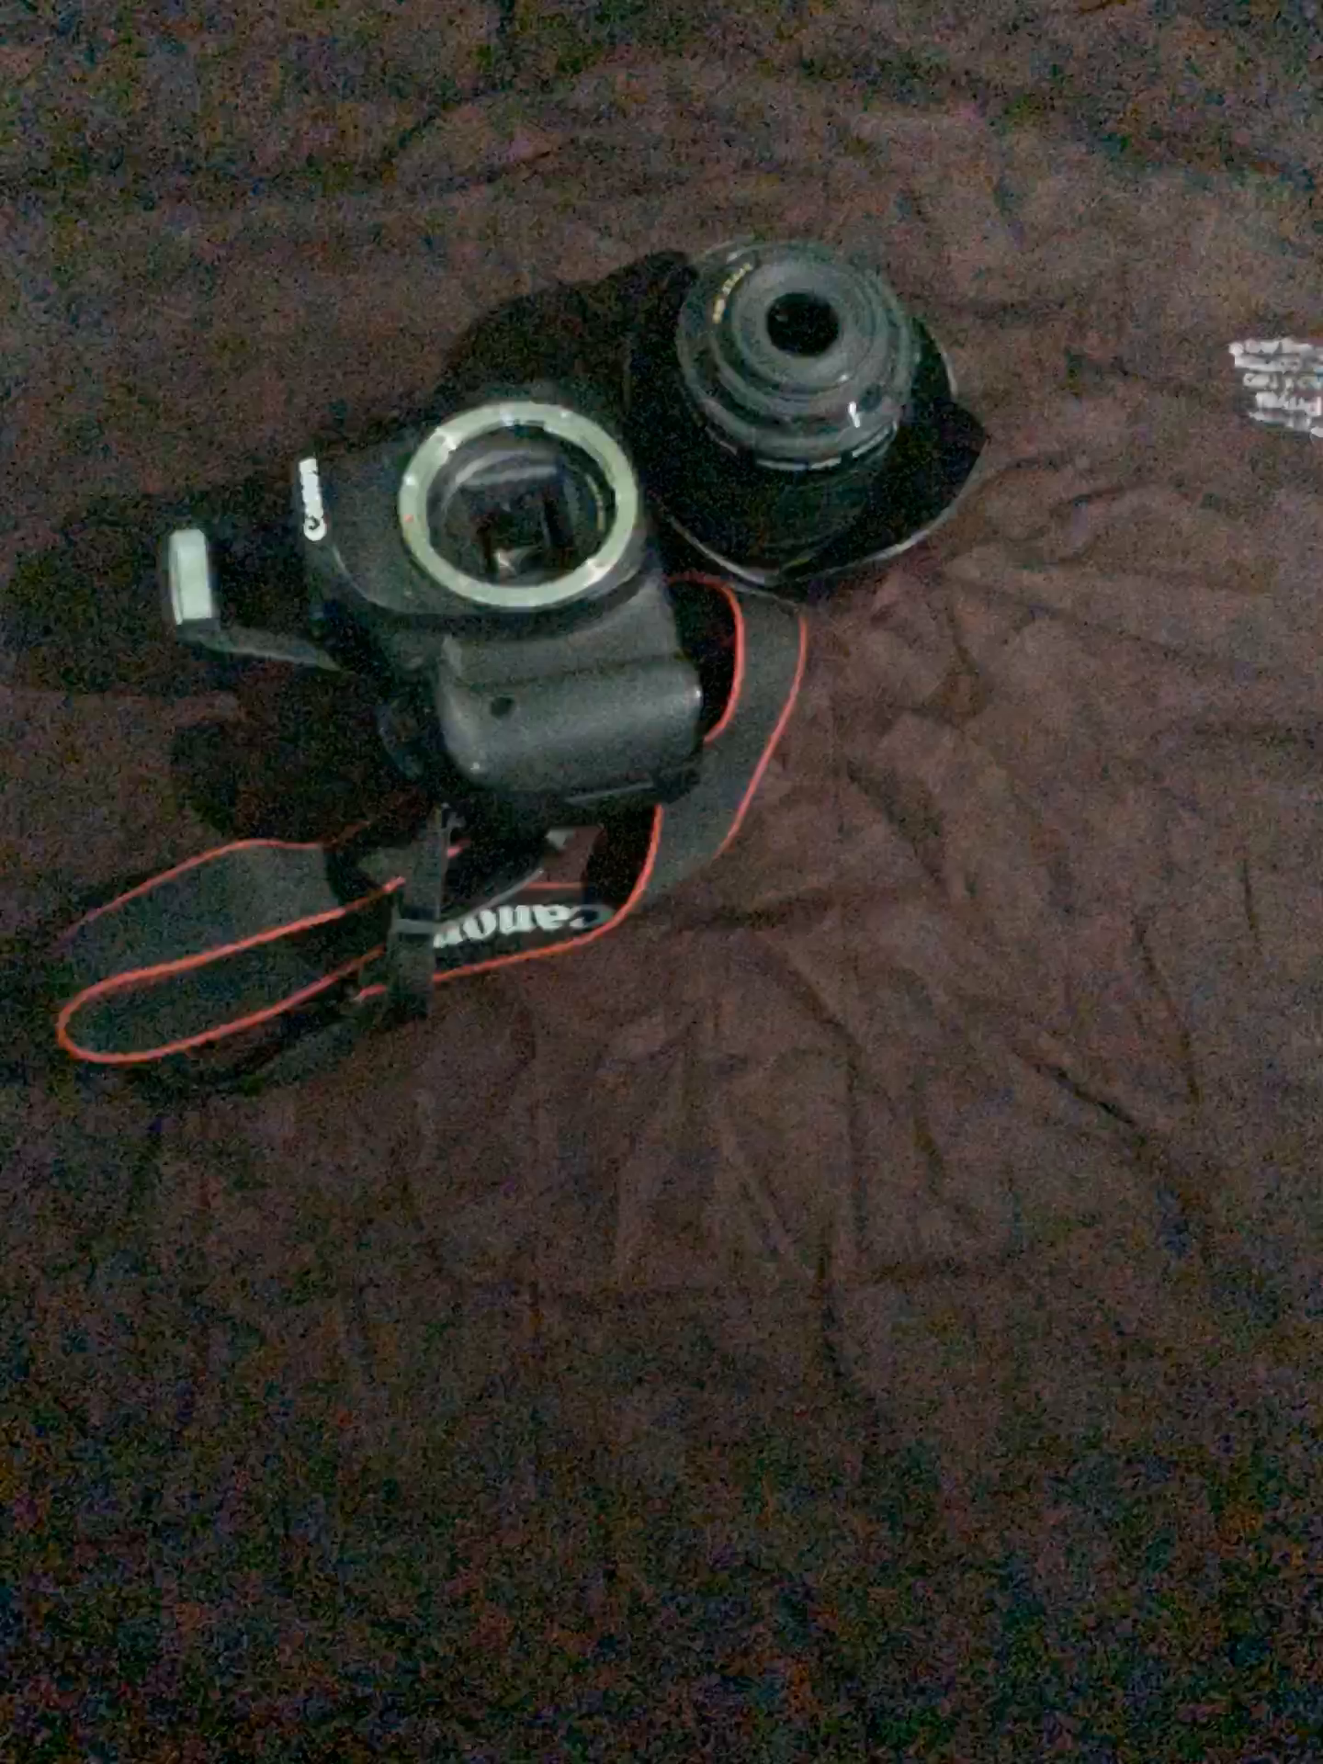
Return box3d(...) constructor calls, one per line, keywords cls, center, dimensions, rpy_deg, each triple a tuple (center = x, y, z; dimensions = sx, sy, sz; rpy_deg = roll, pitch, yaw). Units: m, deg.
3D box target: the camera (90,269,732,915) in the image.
box3d(cls="camera", center=(-0.074, -0.087, 0.410), dimensions=(0.150, 0.083, 0.147), rpy_deg=(-11, 67, -8))
